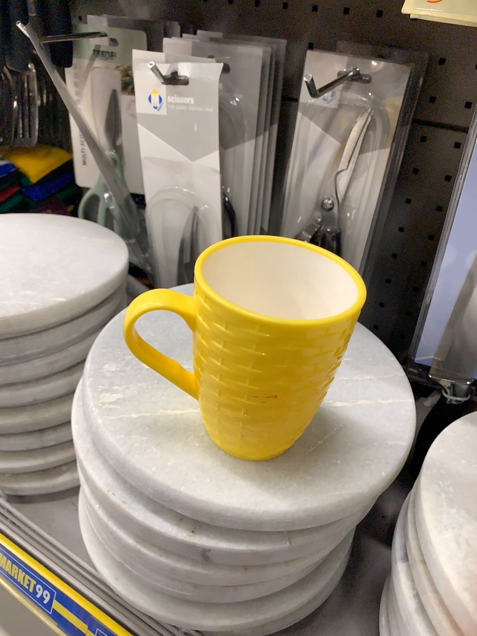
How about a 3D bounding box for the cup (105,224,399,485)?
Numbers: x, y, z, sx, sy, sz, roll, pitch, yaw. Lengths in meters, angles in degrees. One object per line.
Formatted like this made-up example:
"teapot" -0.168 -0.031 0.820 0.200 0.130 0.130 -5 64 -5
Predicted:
"cup" -0.004 0.012 0.257 0.120 0.090 0.090 -4 34 -14
